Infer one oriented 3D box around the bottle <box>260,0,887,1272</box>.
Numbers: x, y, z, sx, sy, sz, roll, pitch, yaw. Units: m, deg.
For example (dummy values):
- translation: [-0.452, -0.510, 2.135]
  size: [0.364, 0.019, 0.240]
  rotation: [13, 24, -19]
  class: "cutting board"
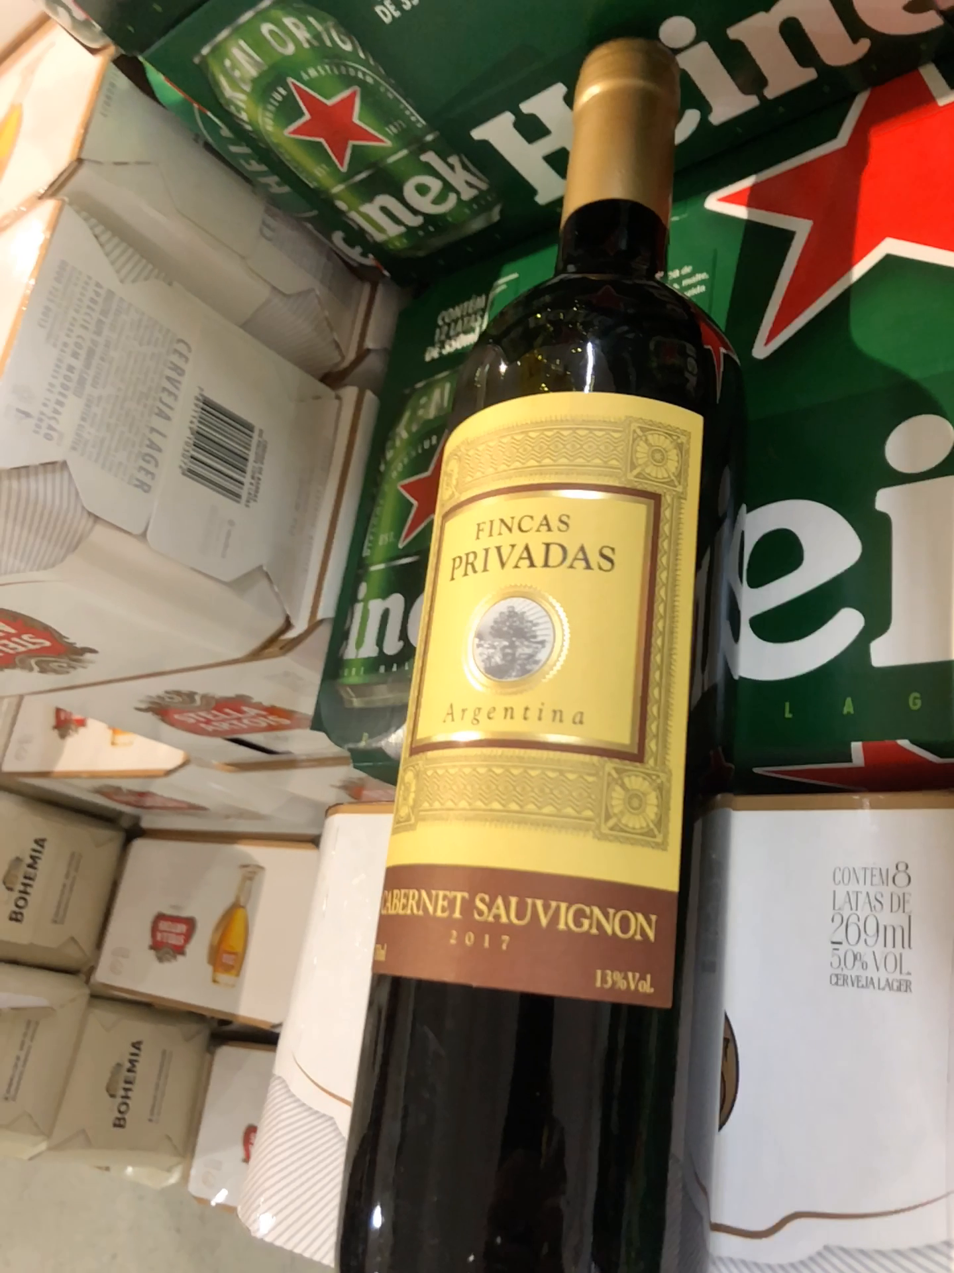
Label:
- translation: [0.037, -0.022, 0.246]
  size: [0.080, 0.060, 0.331]
  rotation: [-7, 64, 40]
  class: "bottle"
